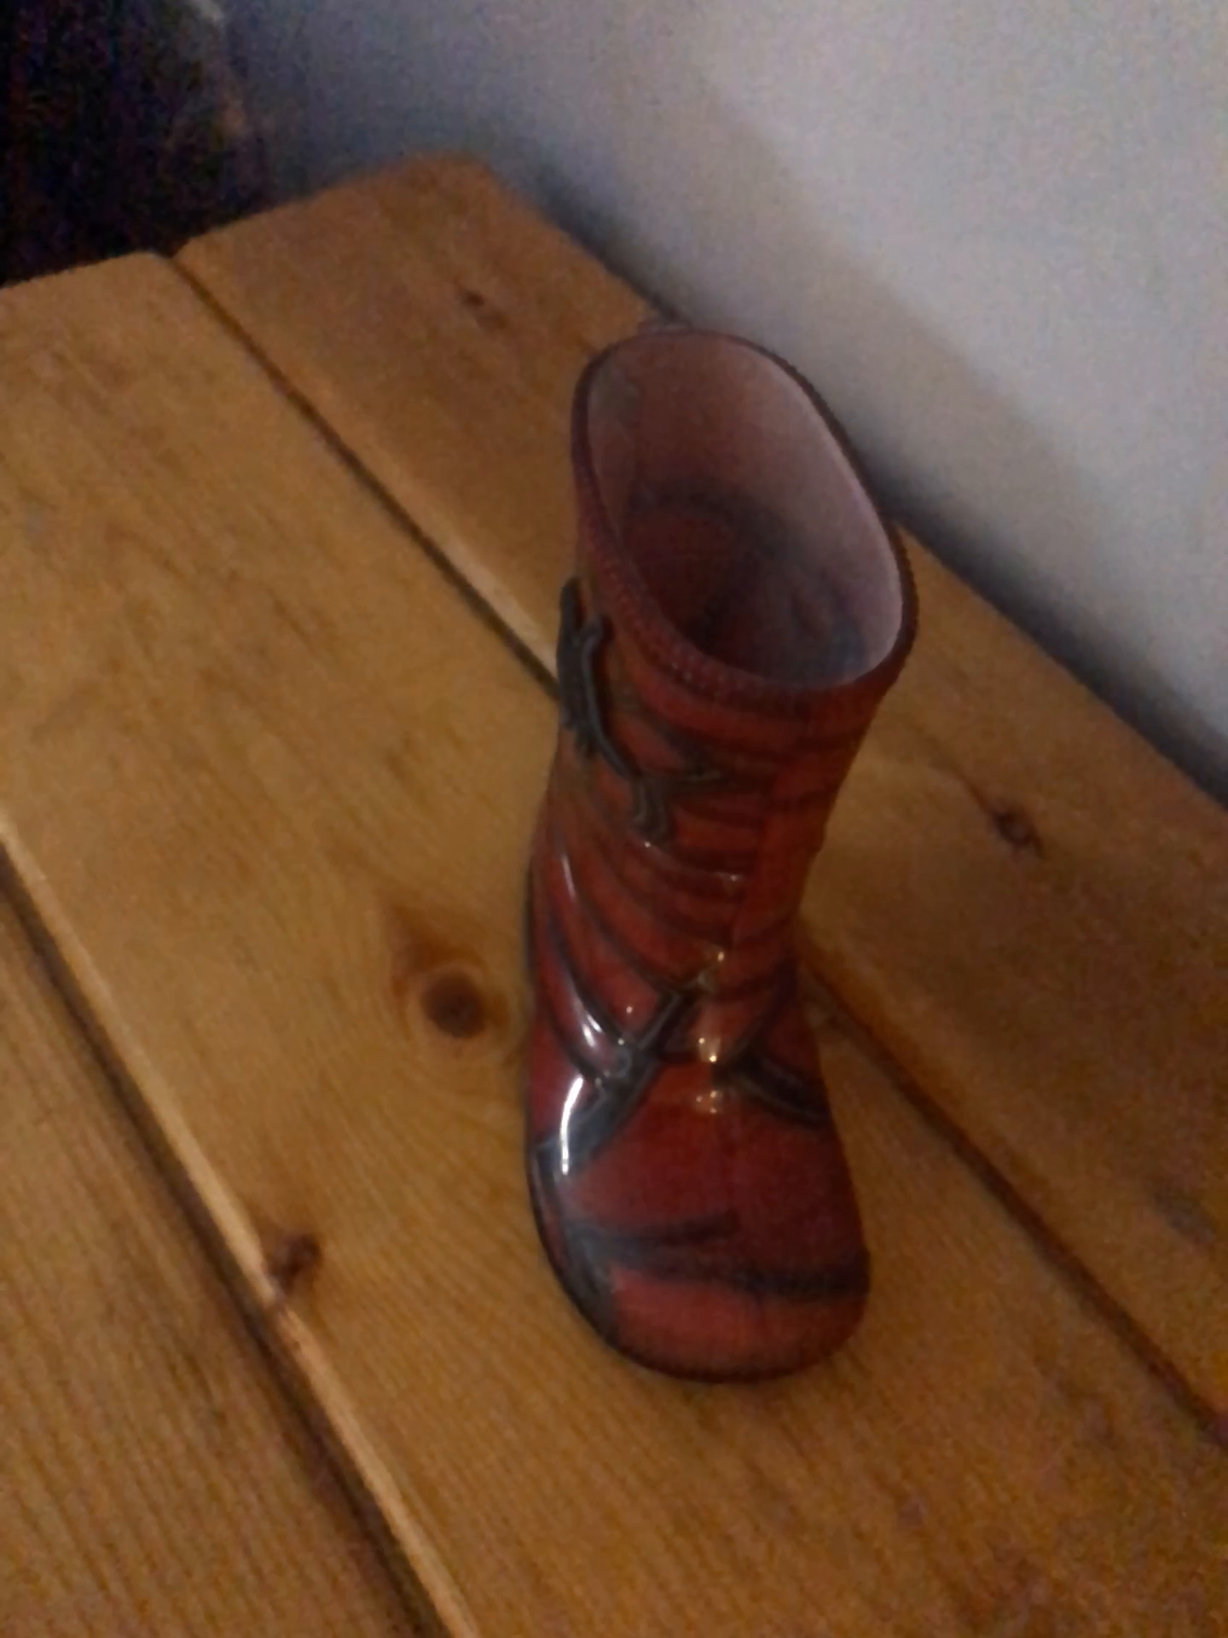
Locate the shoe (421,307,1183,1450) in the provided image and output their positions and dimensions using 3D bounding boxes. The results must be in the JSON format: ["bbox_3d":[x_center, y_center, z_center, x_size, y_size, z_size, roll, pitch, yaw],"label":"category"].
[{"bbox_3d":[0.013,0.019,0.283,0.080,0.170,0.160,-6,55,-10],"label":"shoe"}]
